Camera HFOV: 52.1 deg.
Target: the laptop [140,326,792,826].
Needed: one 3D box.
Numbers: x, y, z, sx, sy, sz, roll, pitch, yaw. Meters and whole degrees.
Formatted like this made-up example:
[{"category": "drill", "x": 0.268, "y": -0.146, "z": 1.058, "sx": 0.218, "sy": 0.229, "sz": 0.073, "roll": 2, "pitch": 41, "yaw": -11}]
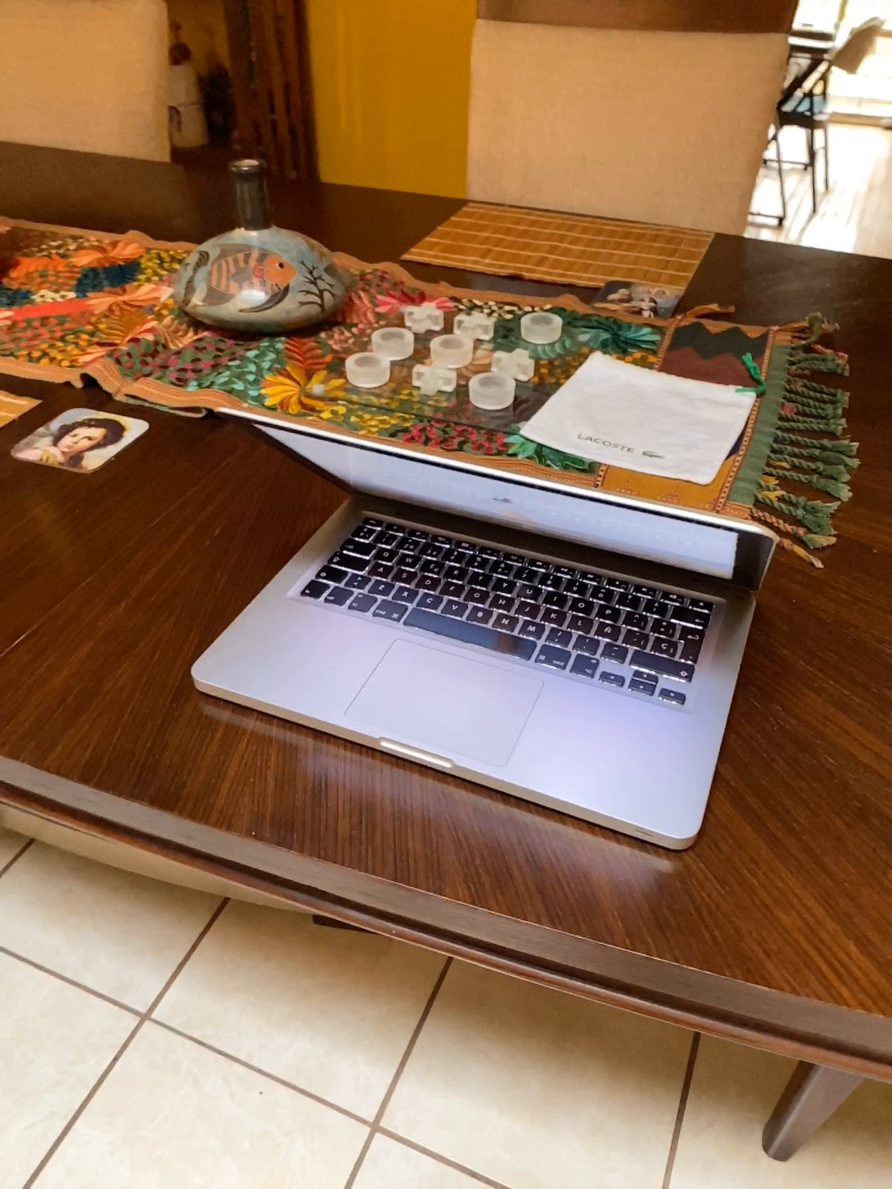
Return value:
[{"category": "laptop", "x": 0.023, "y": -0.032, "z": 0.577, "sx": 0.321, "sy": 0.152, "sz": 0.214, "roll": 14, "pitch": 41, "yaw": 16}]
